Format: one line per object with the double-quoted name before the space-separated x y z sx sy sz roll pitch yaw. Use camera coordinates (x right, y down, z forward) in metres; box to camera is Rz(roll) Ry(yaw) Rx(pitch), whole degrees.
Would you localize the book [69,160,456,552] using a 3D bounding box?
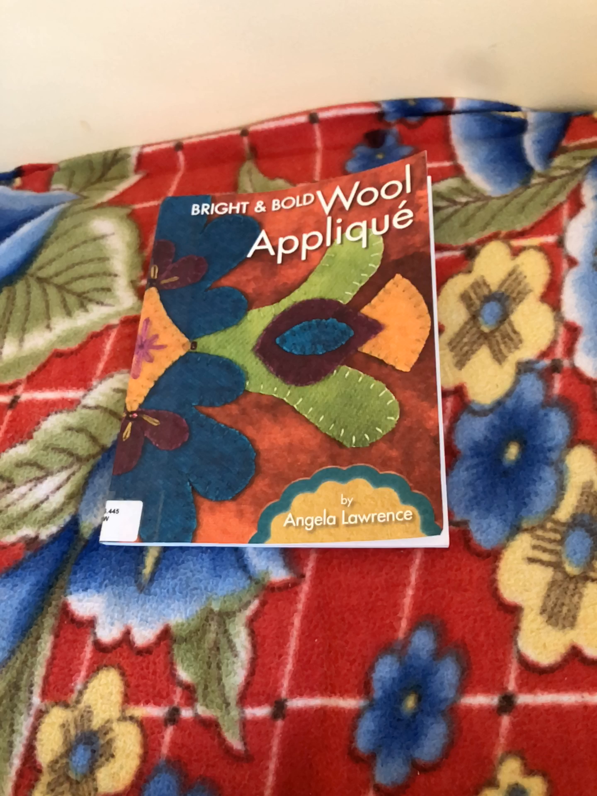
"book" -0.019 -0.035 0.430 0.220 0.020 0.264 -3 63 12
